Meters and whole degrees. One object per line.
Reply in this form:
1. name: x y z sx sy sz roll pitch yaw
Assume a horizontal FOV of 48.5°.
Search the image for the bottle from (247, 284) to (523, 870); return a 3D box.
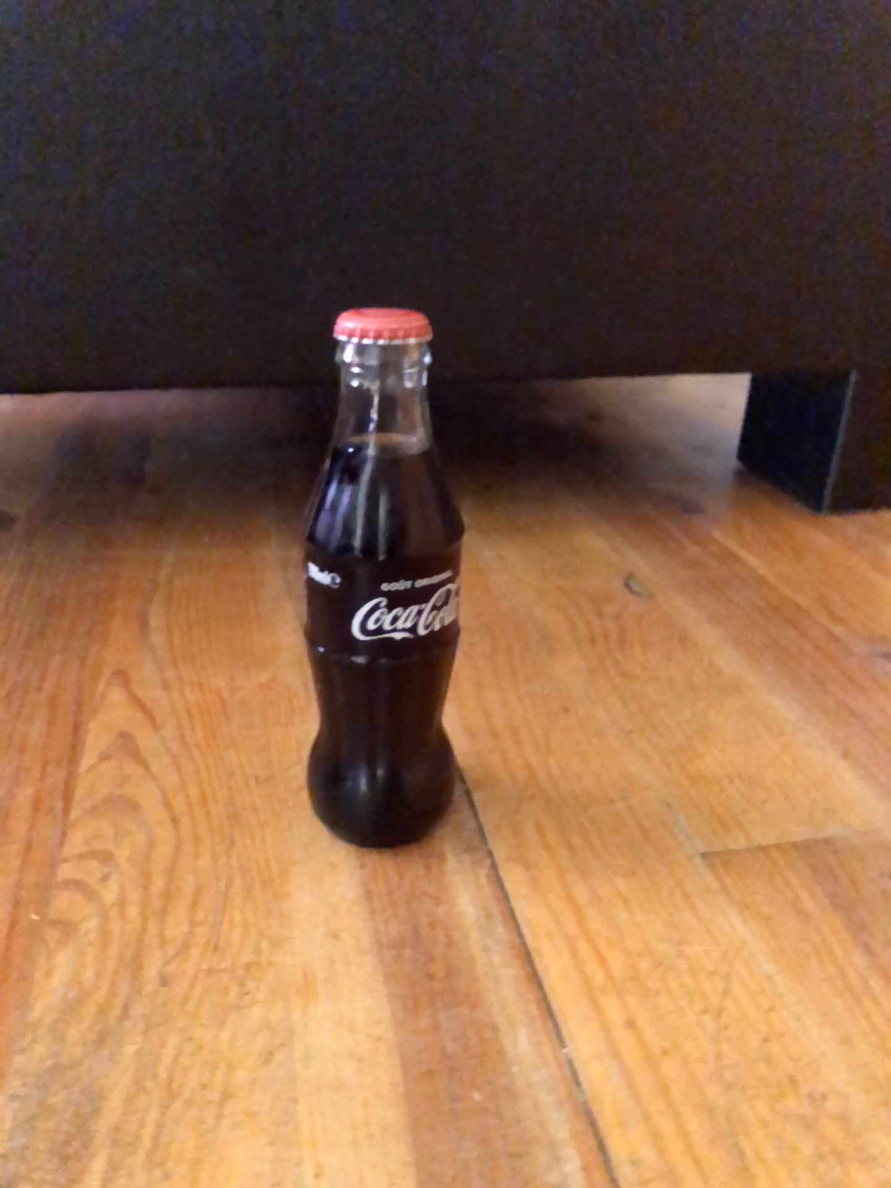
1. bottle: -0.021 -0.006 0.316 0.060 0.169 0.060 1 24 -1
